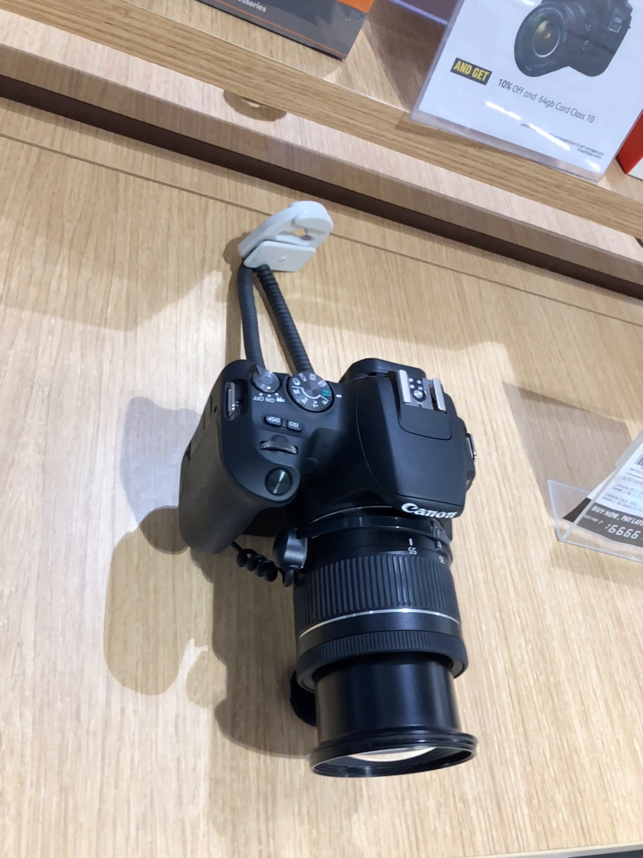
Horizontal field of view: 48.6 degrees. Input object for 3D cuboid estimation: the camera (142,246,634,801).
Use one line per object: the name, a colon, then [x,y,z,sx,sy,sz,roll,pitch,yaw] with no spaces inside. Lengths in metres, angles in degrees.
camera: [0.009,0.039,0.265,0.120,0.099,0.161,10,53,-23]
